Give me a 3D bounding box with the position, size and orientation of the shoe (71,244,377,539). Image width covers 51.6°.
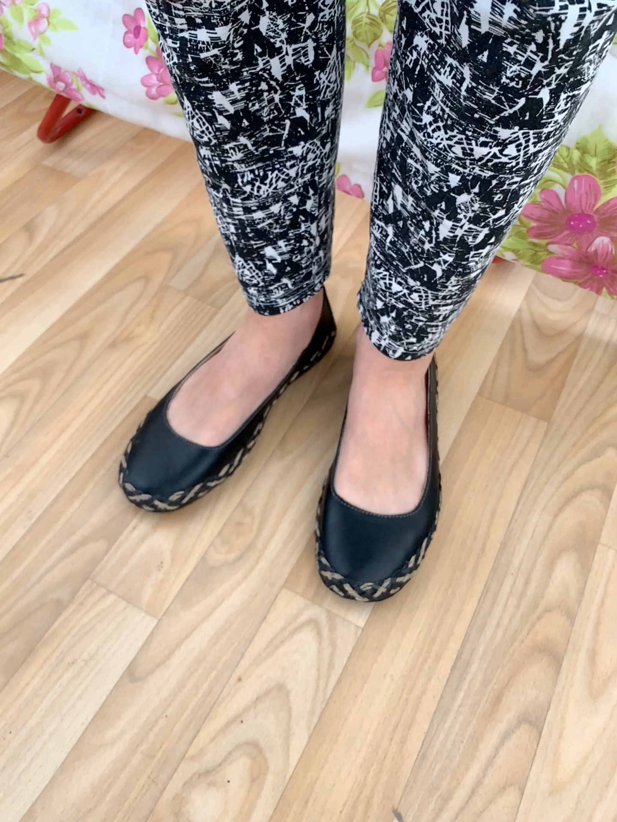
[{"bbox_3d":[-0.060,-0.028,0.557,0.100,0.070,0.265,33,61,21],"label":"shoe"}]

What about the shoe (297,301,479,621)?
[{"bbox_3d":[0.071,0.027,0.519,0.100,0.060,0.251,11,56,8],"label":"shoe"}]
